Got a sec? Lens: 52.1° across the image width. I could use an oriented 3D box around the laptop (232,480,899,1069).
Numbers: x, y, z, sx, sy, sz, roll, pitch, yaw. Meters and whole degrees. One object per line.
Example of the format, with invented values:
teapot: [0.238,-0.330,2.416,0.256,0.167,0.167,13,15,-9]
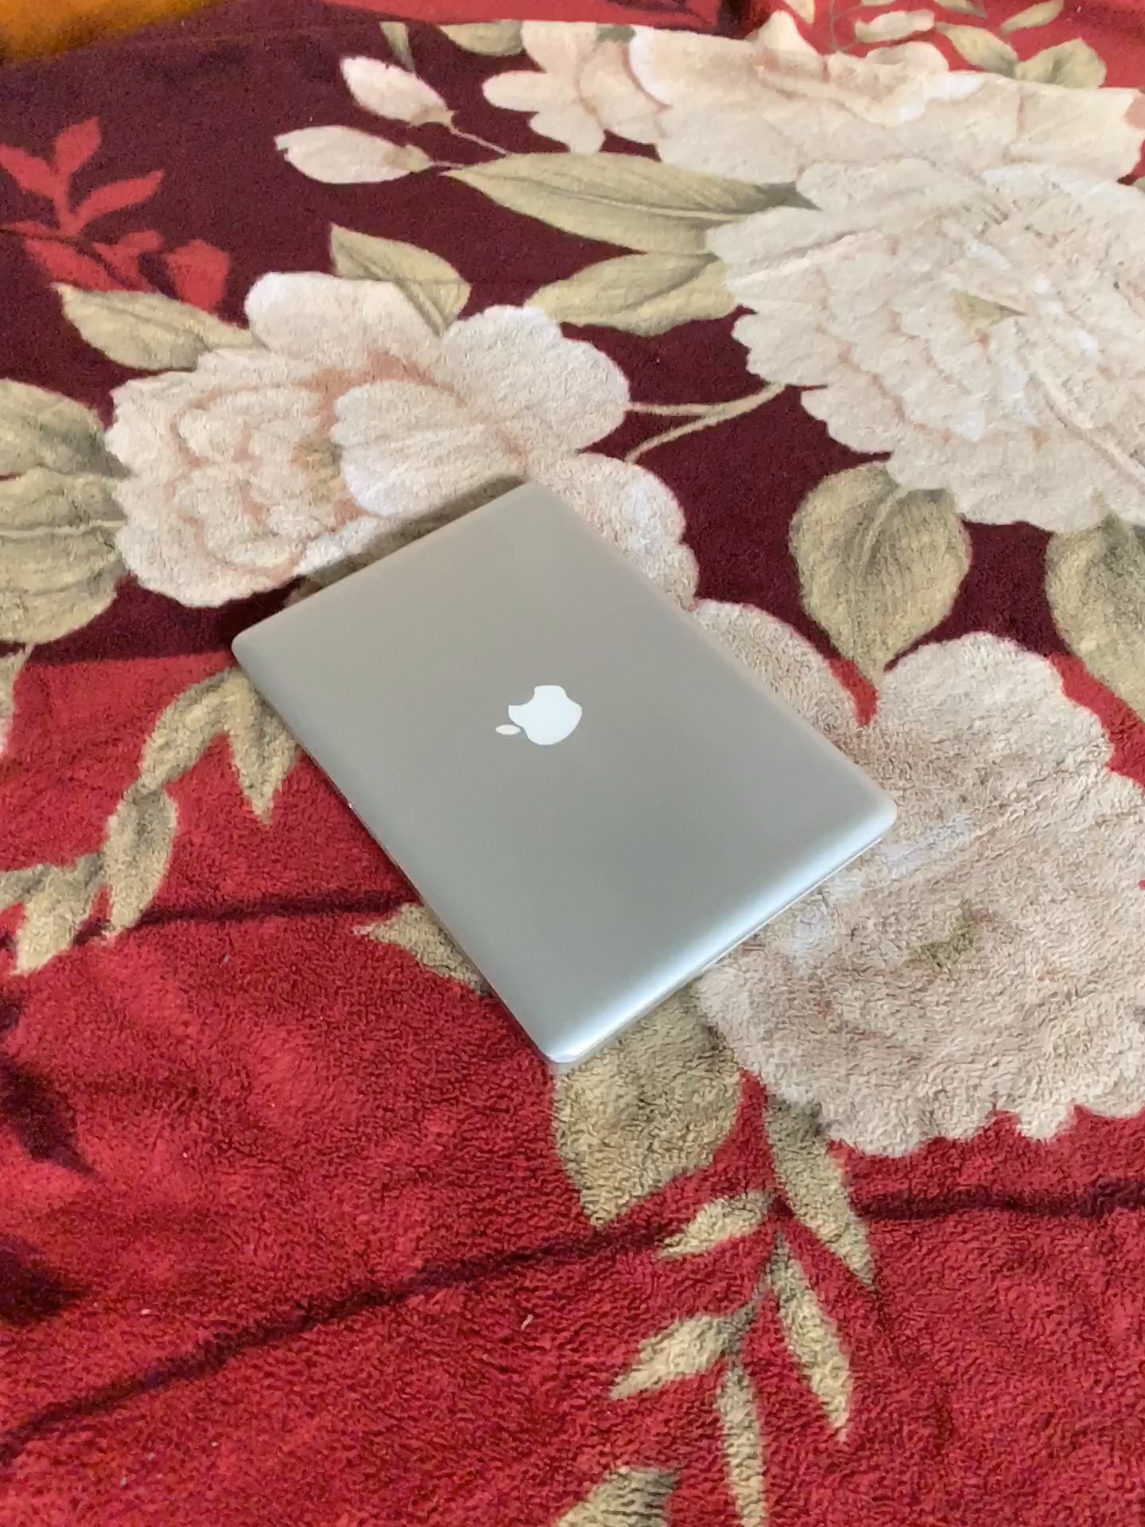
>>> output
laptop: [-0.015,-0.020,0.622,0.209,0.001,0.310,-33,61,-18]
